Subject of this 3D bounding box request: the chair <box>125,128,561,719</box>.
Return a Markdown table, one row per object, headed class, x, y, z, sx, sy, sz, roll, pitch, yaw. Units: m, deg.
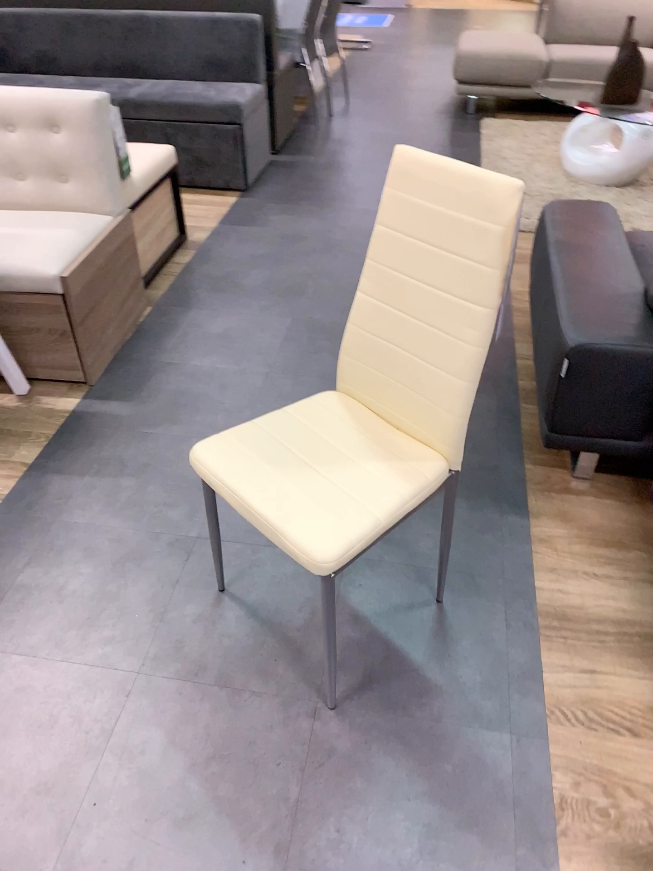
| class | x | y | z | sx | sy | sz | roll | pitch | yaw |
| --- | --- | --- | --- | --- | --- | --- | --- | --- | --- |
| chair | 0.025 | -0.005 | 1.293 | 0.479 | 0.940 | 0.446 | -29 | 47 | -31 |
